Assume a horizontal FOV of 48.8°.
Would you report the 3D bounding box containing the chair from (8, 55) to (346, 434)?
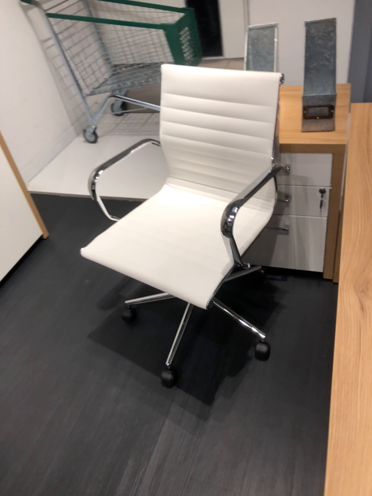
[{"bbox_3d":[0.059,-0.050,1.477,0.652,0.953,0.763,21,49,33],"label":"chair"}]
